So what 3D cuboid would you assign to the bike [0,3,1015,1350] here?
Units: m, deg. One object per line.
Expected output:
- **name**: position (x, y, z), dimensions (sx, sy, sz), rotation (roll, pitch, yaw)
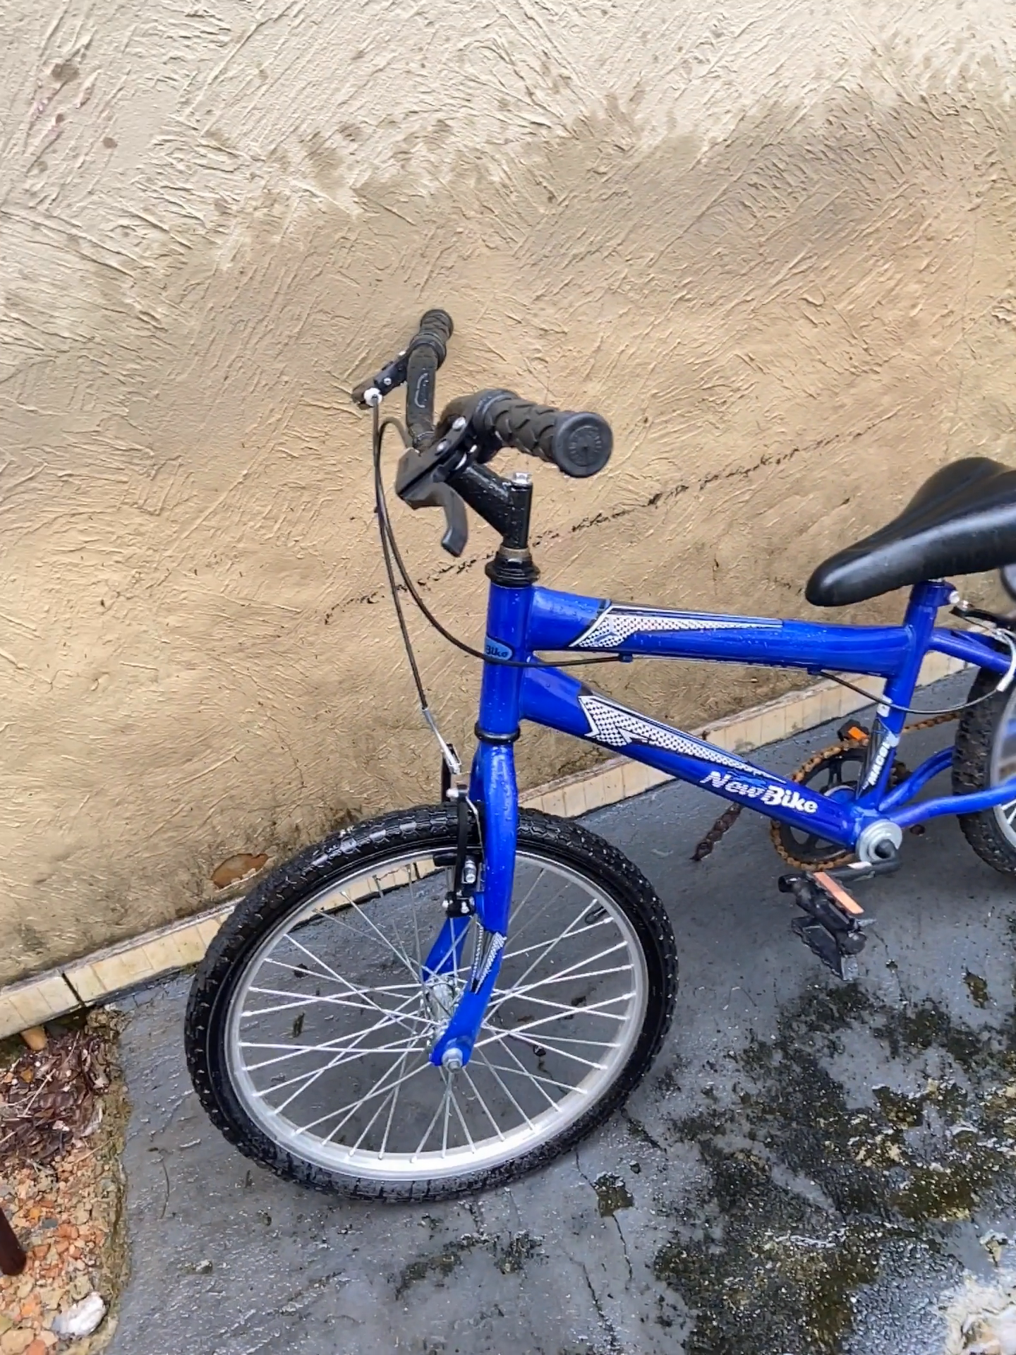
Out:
- **bike**: position (0.247, -0.058, 1.004), dimensions (1.250, 0.849, 0.545), rotation (-18, 39, -13)
